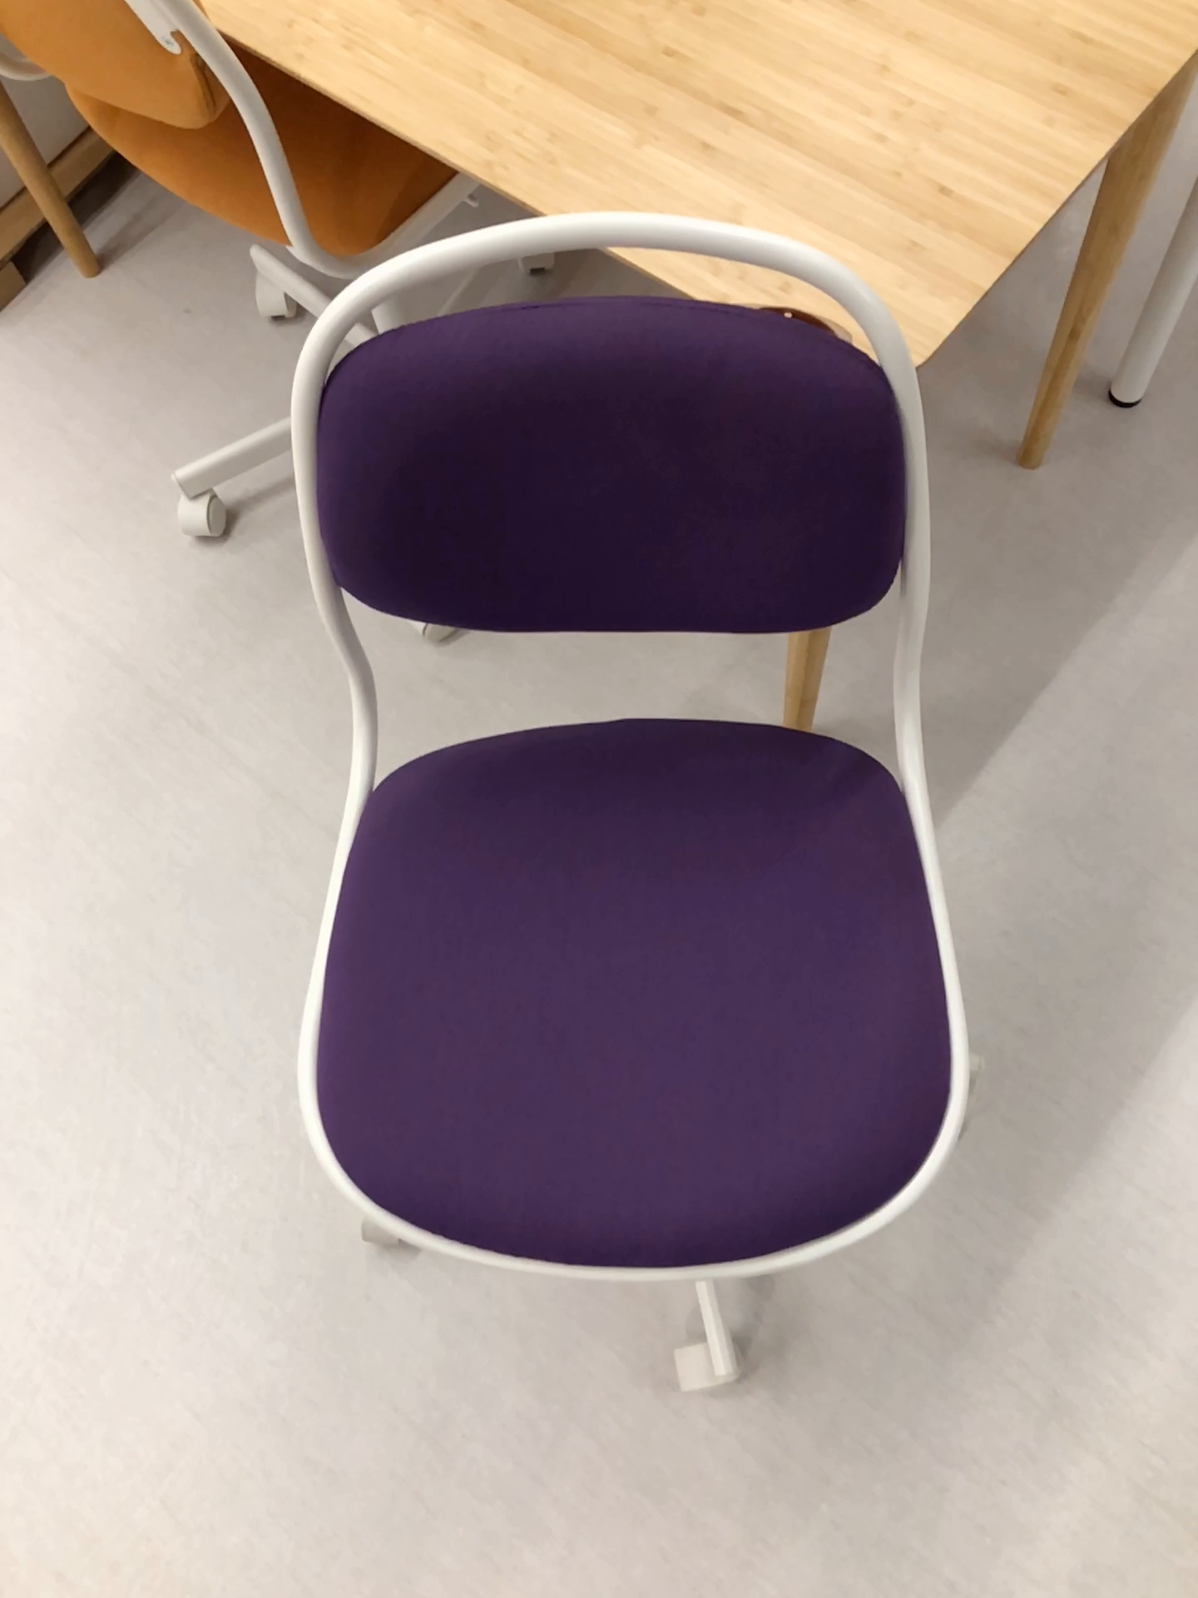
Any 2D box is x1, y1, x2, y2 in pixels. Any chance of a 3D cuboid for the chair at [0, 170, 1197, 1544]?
[{"bbox_3d":[0.040,0.105,0.982,0.620,0.778,0.662,1,67,6],"label":"chair"}]
